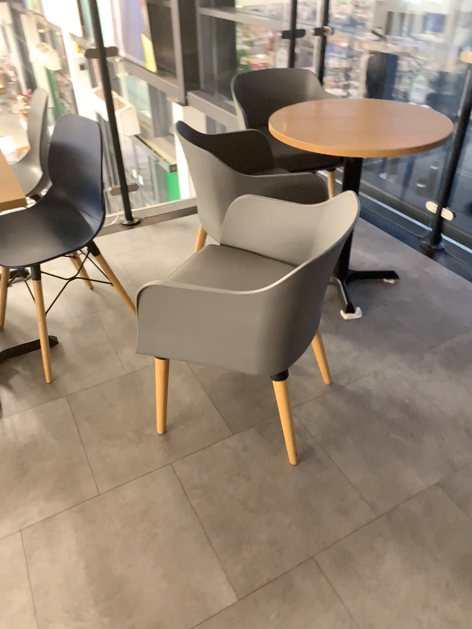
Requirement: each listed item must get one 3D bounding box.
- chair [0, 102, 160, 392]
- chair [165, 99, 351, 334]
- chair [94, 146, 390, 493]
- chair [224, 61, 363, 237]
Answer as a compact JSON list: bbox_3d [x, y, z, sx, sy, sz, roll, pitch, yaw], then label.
[{"bbox_3d":[-0.659,-0.257,1.725,0.476,0.784,0.512,29,46,34],"label":"chair"},{"bbox_3d":[0.062,-0.412,1.980,0.540,0.724,0.518,-12,38,-13],"label":"chair"},{"bbox_3d":[0.051,-0.012,1.432,0.581,0.734,0.548,14,39,19],"label":"chair"},{"bbox_3d":[0.277,-0.922,2.644,0.484,0.724,0.585,-15,38,-17],"label":"chair"}]
